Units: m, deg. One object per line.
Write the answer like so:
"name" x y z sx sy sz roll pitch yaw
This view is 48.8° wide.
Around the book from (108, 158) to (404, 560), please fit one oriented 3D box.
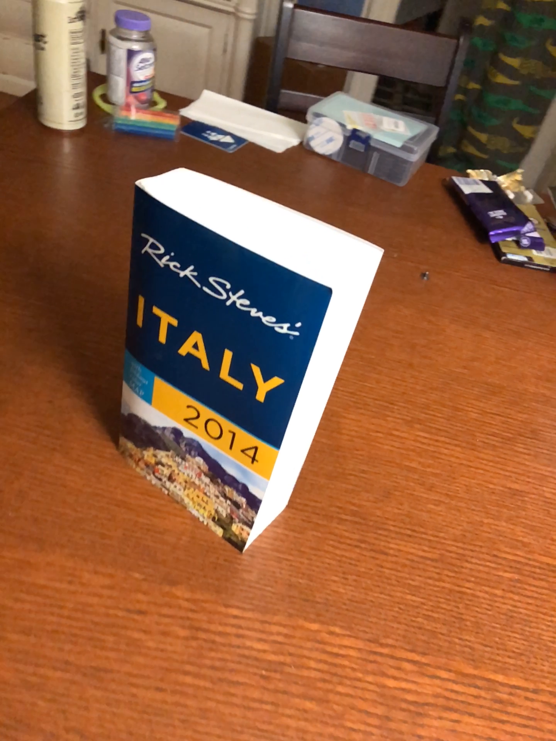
"book" -0.028 0.001 0.361 0.130 0.199 0.050 30 39 17
